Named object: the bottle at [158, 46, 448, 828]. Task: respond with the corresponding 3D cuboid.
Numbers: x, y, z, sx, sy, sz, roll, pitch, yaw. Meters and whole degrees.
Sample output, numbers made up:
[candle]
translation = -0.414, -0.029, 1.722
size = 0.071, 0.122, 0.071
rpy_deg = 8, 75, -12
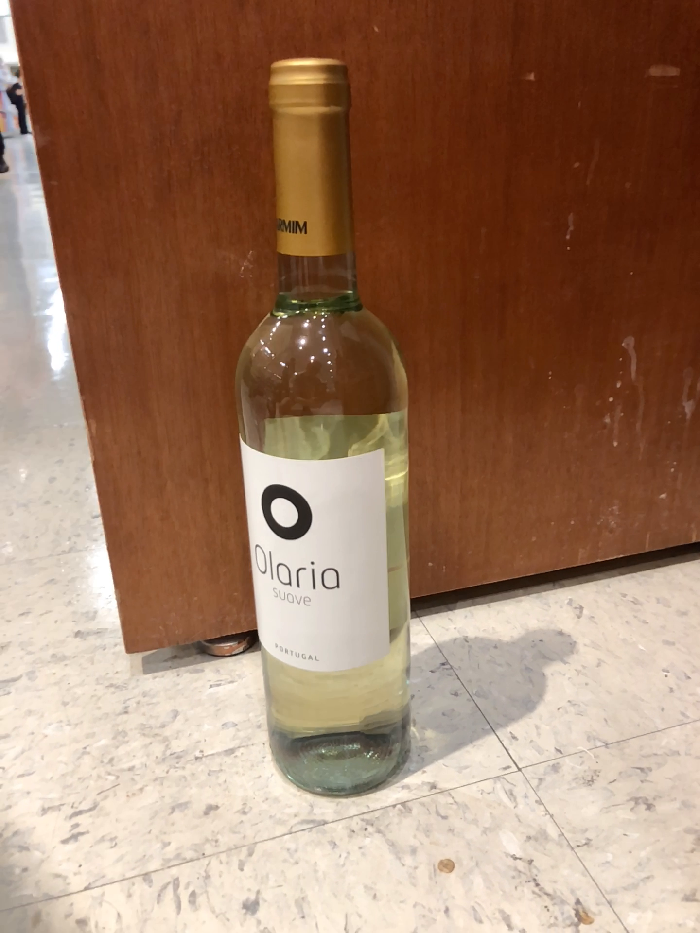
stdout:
[bottle]
translation = -0.008, 0.002, 0.337
size = 0.080, 0.318, 0.070
rpy_deg = 8, 25, 22
